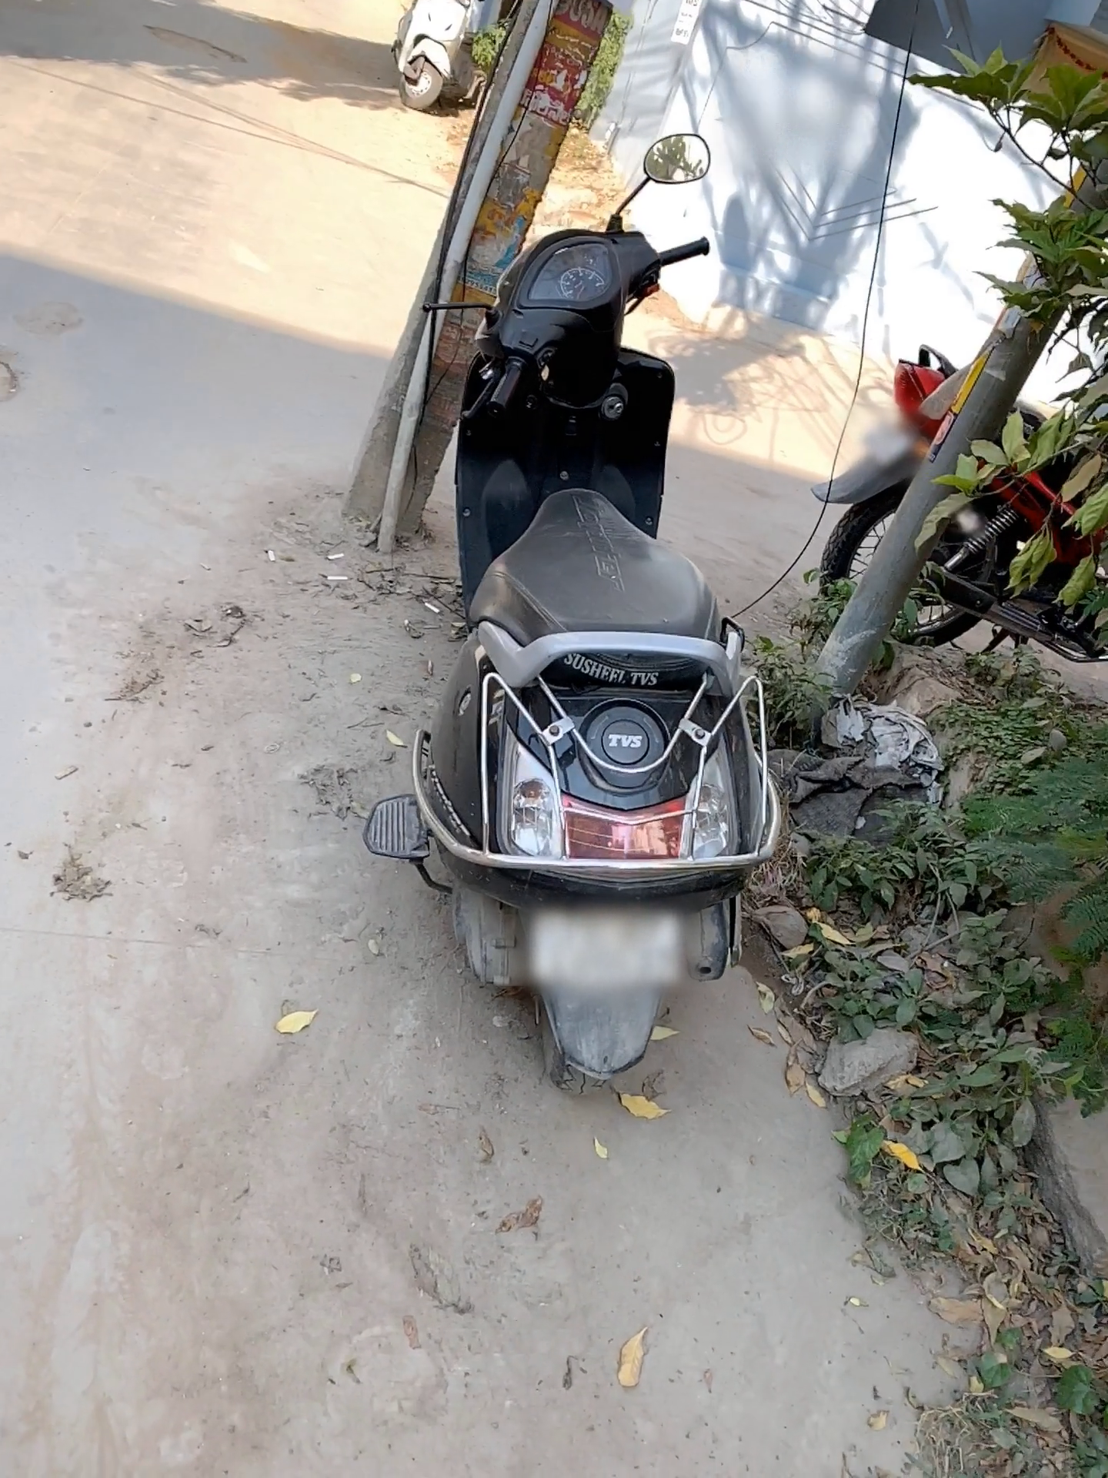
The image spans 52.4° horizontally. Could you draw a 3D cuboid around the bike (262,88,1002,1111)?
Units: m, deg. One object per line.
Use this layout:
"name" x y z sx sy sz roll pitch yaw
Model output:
"bike" -0.042 -0.435 2.082 0.618 0.943 1.826 12 35 -15
